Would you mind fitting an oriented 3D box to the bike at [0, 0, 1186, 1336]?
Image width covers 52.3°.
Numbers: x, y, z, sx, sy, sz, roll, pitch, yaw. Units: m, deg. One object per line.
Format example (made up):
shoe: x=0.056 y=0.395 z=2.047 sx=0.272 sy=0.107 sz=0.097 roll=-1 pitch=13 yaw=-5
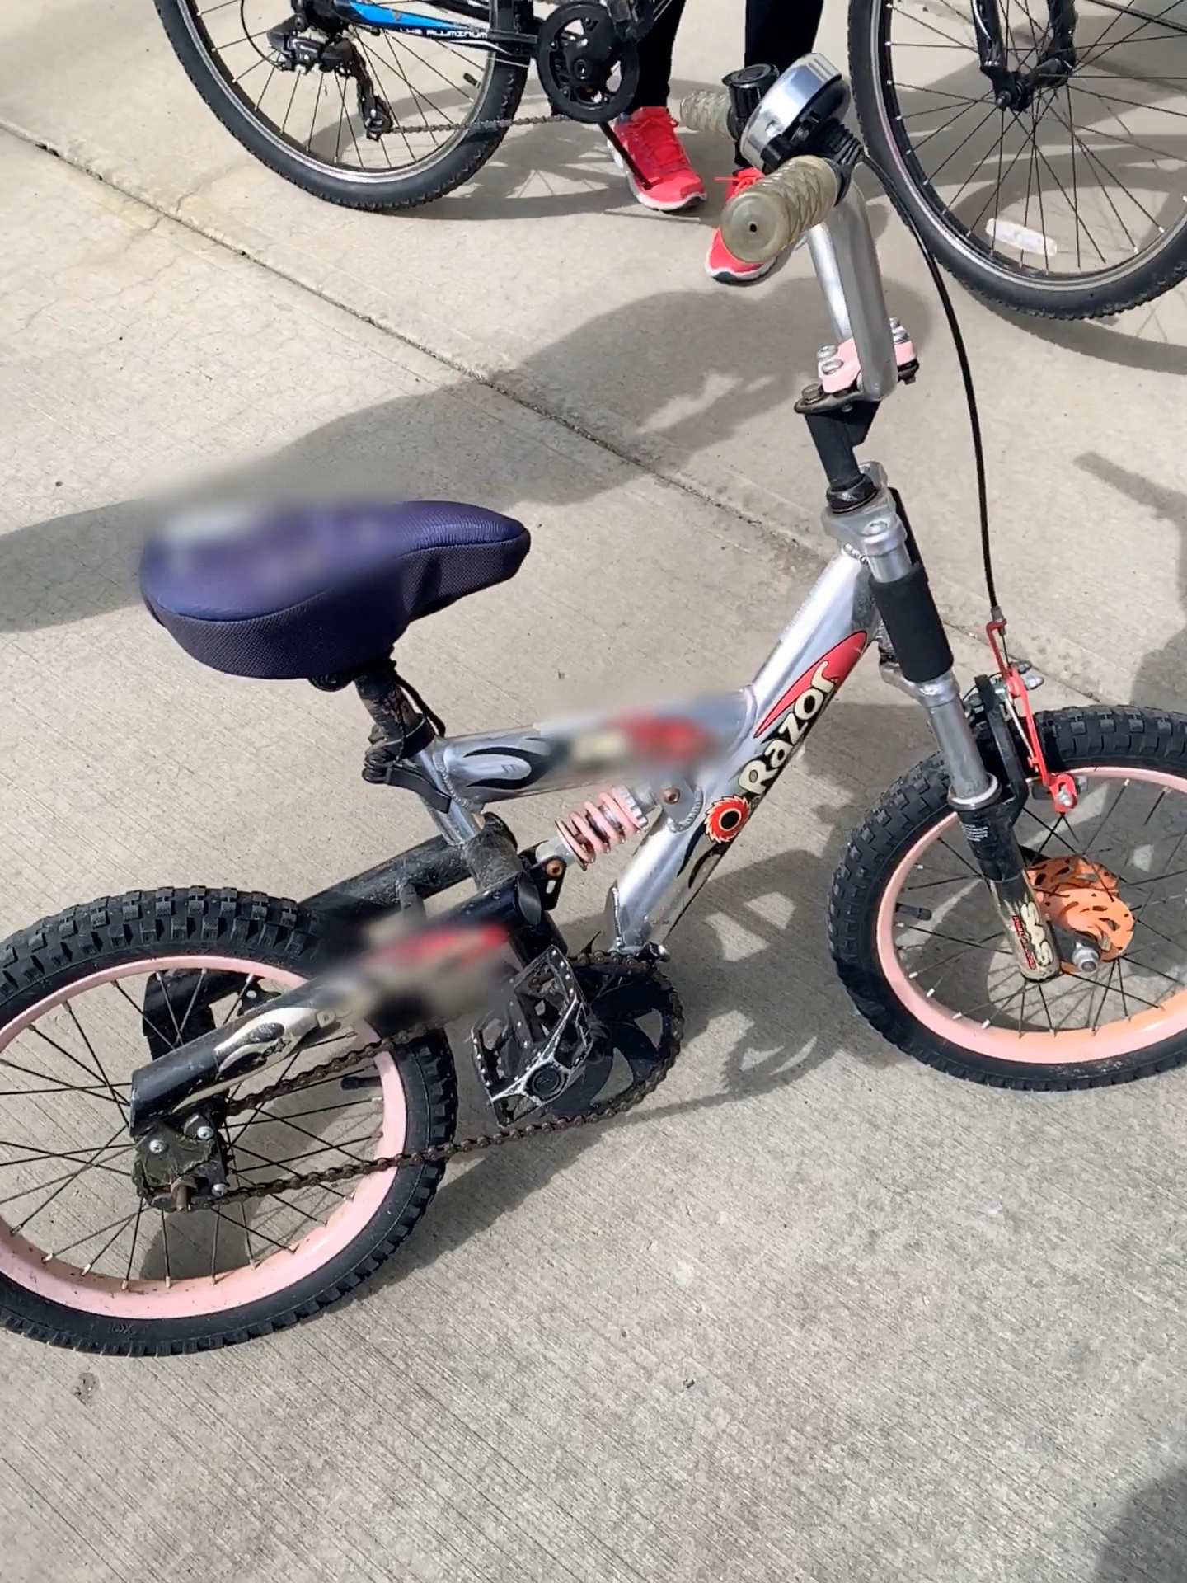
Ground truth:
bike: x=0.043 y=-0.075 z=0.856 sx=1.123 sy=0.691 sz=0.359 roll=-14 pitch=54 yaw=-15
